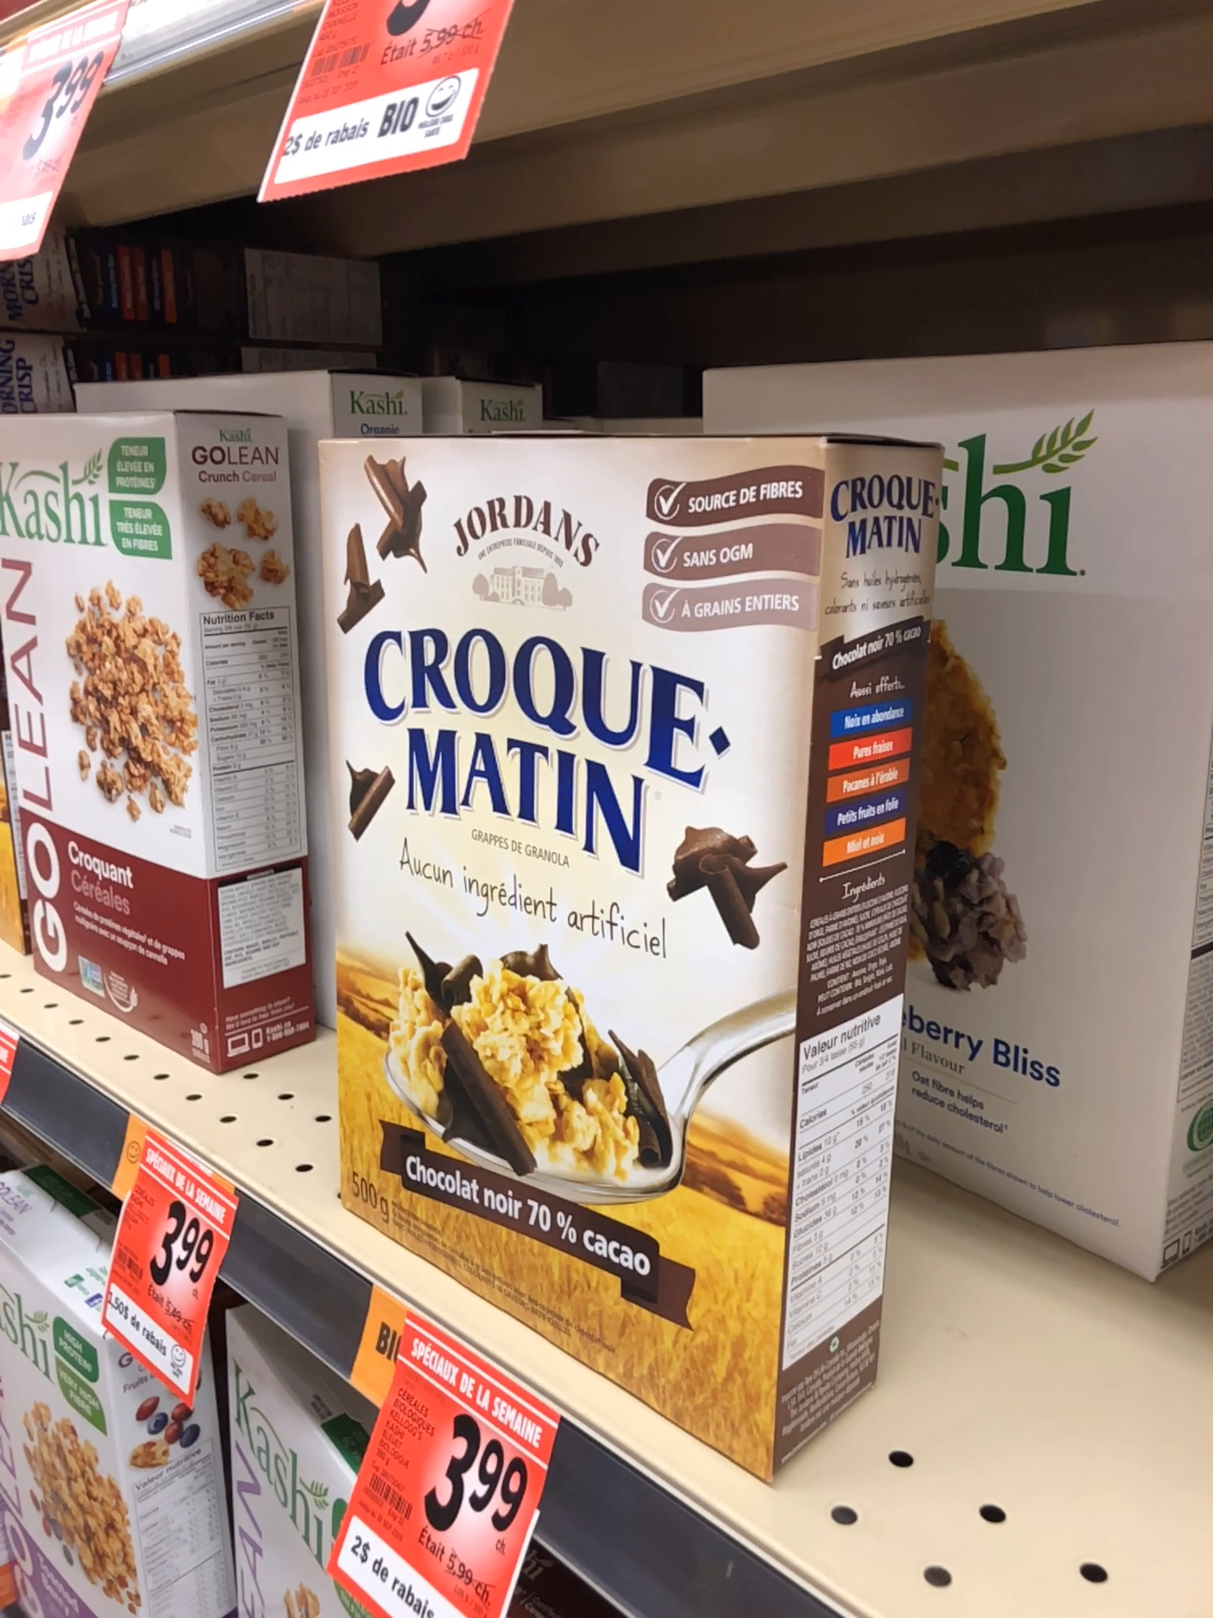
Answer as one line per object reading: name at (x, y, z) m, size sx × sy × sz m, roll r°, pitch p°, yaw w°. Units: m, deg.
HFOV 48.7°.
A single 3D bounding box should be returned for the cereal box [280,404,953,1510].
cereal box at (-0.012, 0.022, 0.369) m, size 0.190 × 0.249 × 0.050 m, roll 14°, pitch 18°, yaw 43°
